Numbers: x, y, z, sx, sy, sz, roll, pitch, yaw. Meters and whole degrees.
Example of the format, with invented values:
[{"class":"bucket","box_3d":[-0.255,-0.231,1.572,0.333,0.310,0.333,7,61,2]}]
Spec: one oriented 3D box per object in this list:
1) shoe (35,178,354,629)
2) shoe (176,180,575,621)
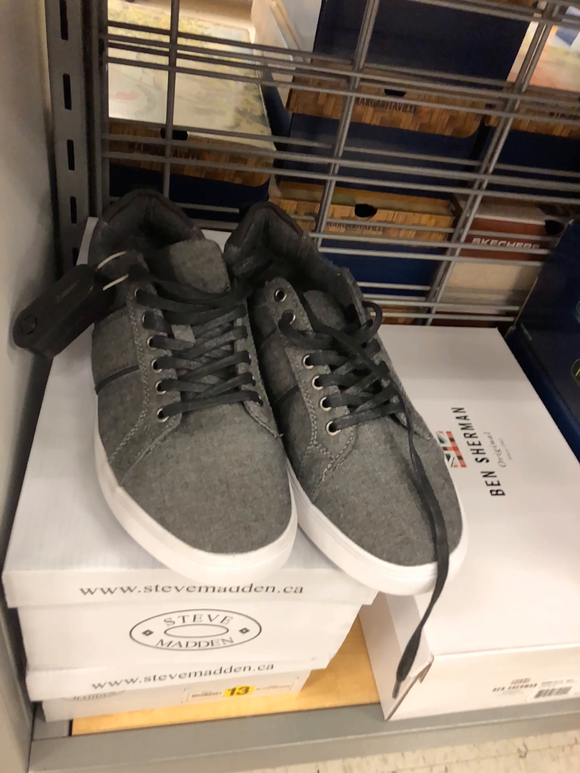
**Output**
[{"class":"shoe","box_3d":[-0.077,-0.015,0.380,0.107,0.099,0.262,-8,47,-22]},{"class":"shoe","box_3d":[0.025,-0.016,0.401,0.107,0.099,0.272,-11,48,-25]}]
